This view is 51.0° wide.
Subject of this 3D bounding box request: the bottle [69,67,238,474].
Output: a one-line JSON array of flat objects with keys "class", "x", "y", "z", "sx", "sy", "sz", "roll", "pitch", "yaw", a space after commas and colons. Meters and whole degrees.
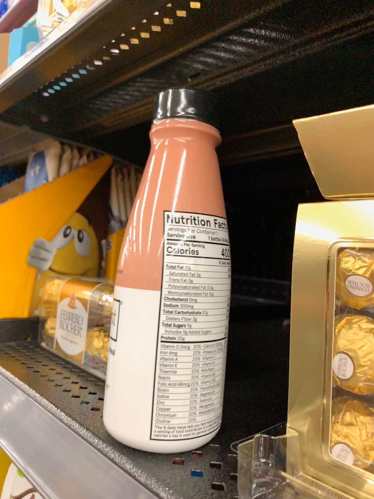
[{"class": "bottle", "x": -0.013, "y": 0.008, "z": 0.227, "sx": 0.070, "sy": 0.190, "sz": 0.080, "roll": 3, "pitch": -1, "yaw": 5}]
